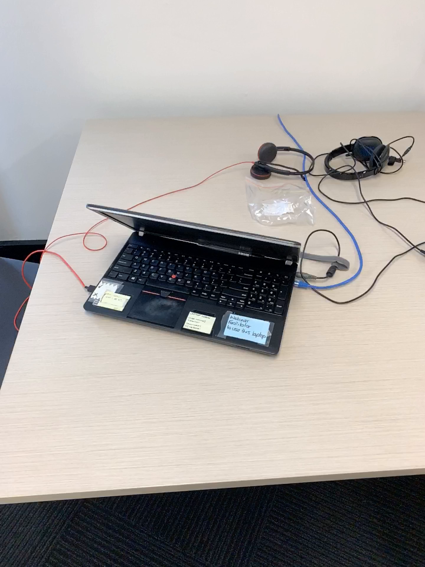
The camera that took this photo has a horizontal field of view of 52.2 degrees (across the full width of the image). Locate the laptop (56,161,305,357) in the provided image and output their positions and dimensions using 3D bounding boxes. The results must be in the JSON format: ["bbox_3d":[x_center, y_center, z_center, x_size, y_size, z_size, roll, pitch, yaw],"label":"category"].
[{"bbox_3d":[-0.033,-0.056,0.699,0.326,0.157,0.227,11,42,13],"label":"laptop"}]
